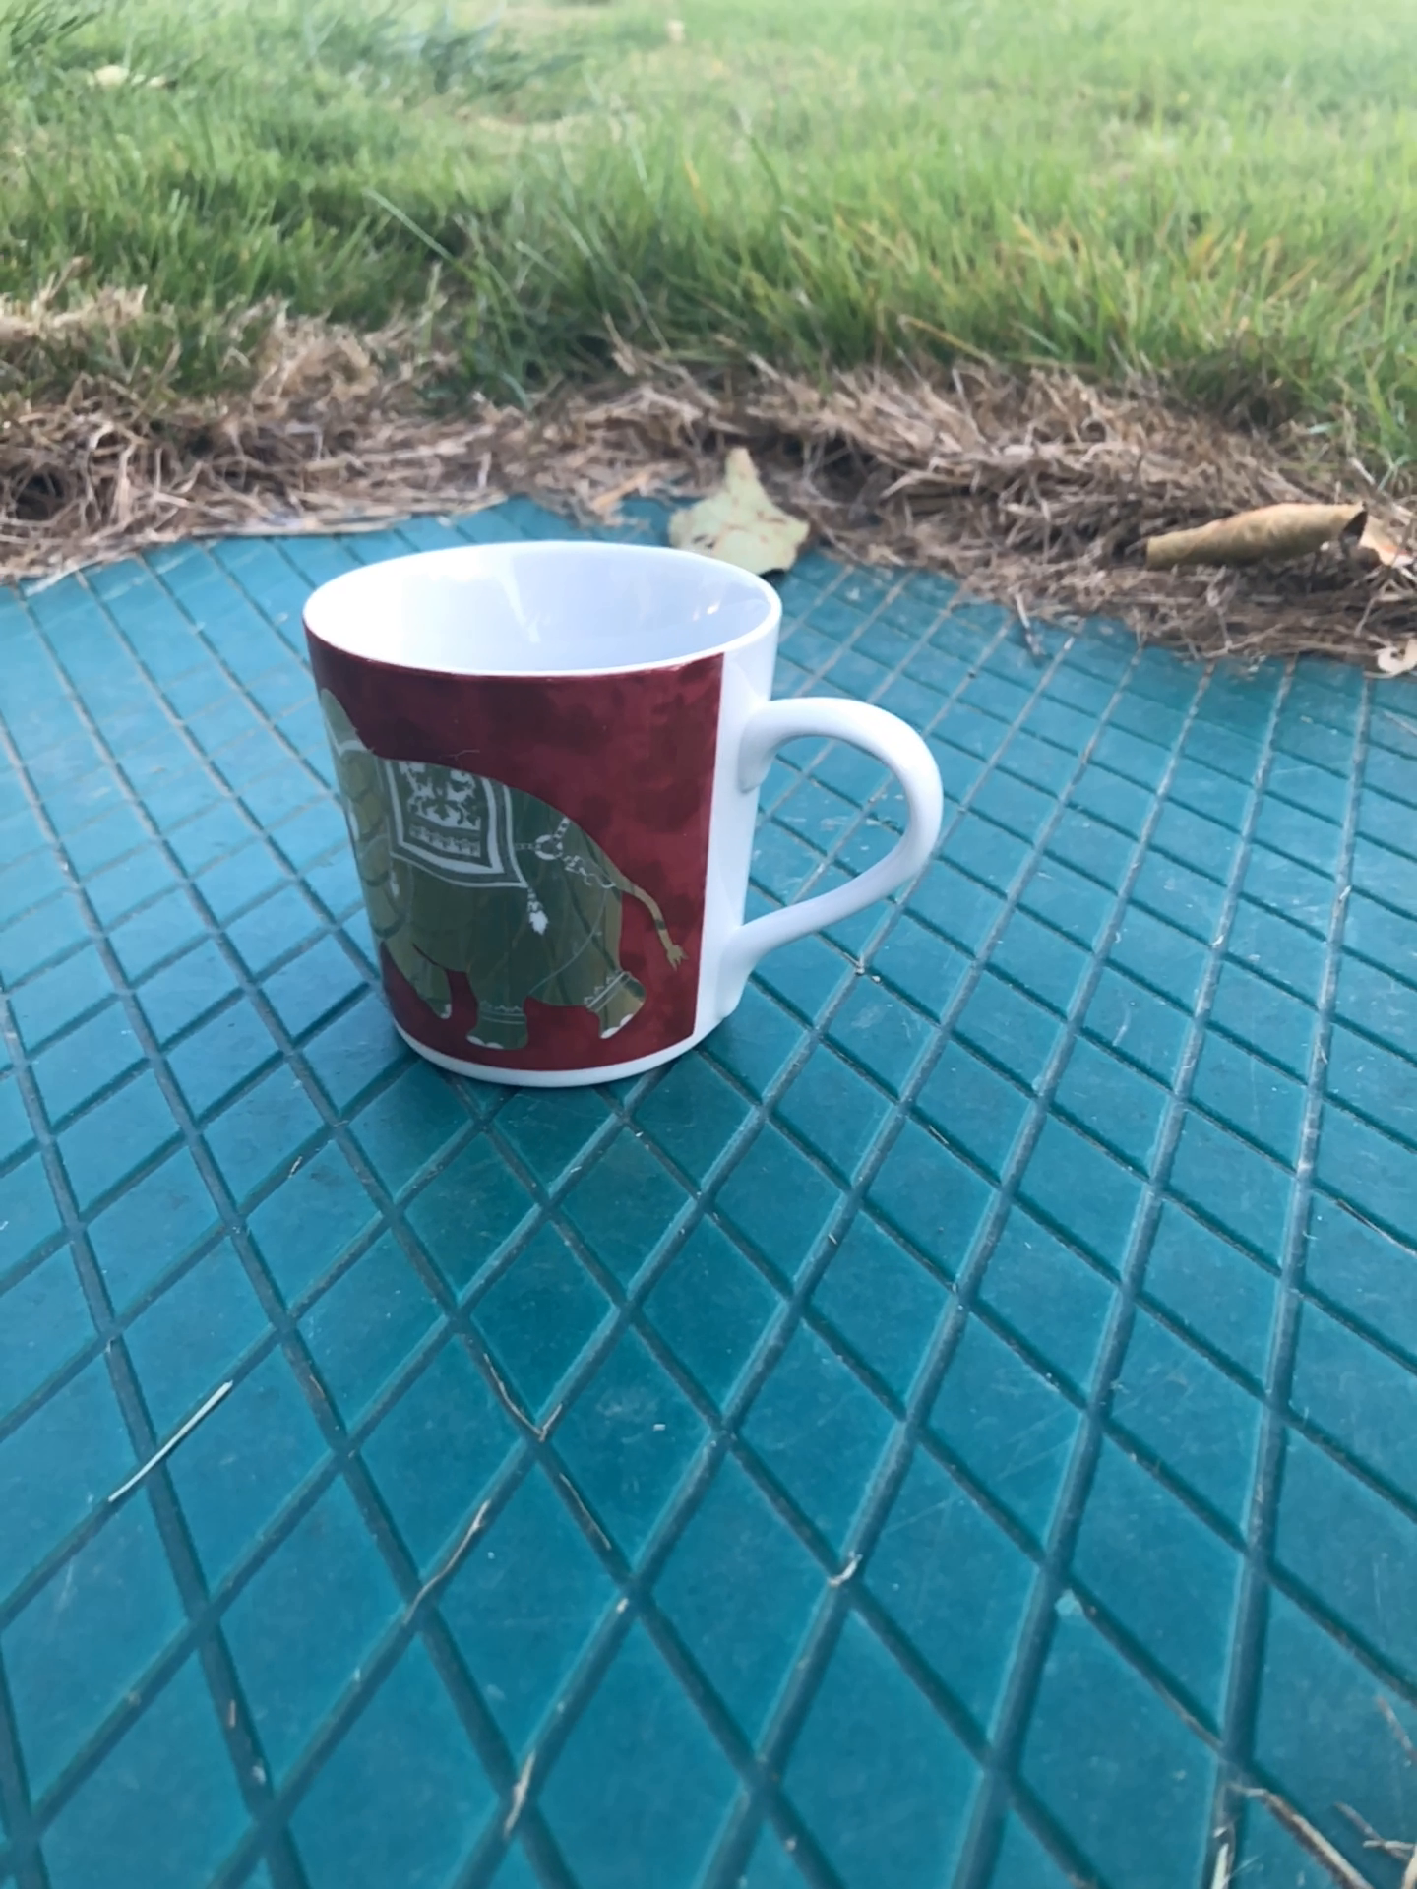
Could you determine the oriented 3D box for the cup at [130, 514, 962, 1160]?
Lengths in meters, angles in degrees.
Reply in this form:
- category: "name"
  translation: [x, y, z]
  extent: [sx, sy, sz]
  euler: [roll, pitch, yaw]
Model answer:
- category: "cup"
  translation: [-0.022, -0.026, 0.271]
  extent: [0.110, 0.070, 0.082]
  euler: [10, 29, 18]
